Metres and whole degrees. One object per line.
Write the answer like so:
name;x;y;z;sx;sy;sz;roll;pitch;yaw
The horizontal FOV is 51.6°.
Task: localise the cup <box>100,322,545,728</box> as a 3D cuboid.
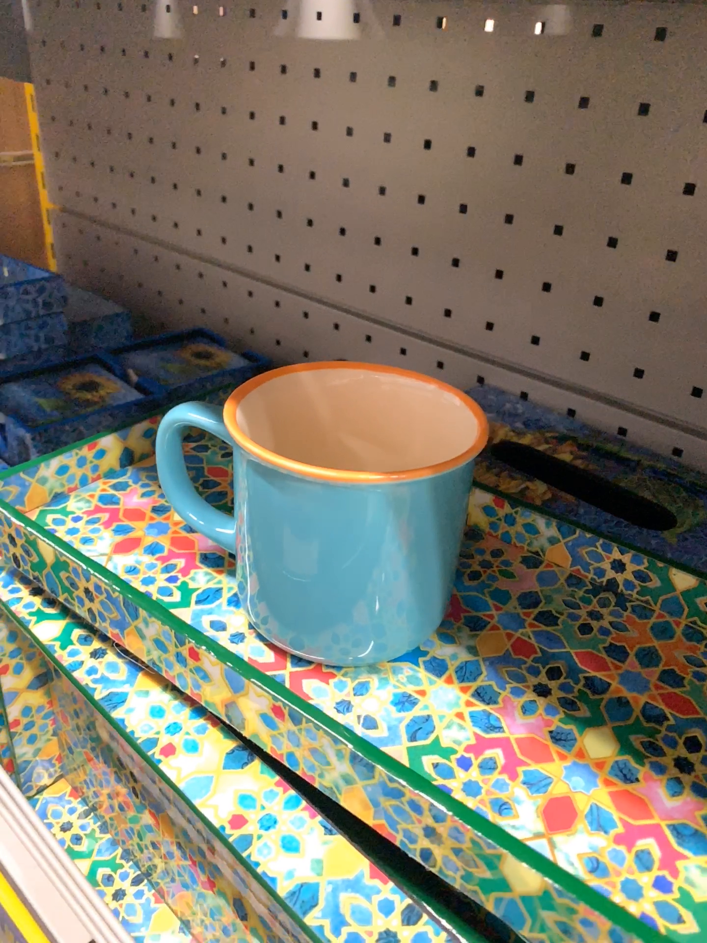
cup;-0.010;0.008;0.265;0.120;0.080;0.090;19;33;24
